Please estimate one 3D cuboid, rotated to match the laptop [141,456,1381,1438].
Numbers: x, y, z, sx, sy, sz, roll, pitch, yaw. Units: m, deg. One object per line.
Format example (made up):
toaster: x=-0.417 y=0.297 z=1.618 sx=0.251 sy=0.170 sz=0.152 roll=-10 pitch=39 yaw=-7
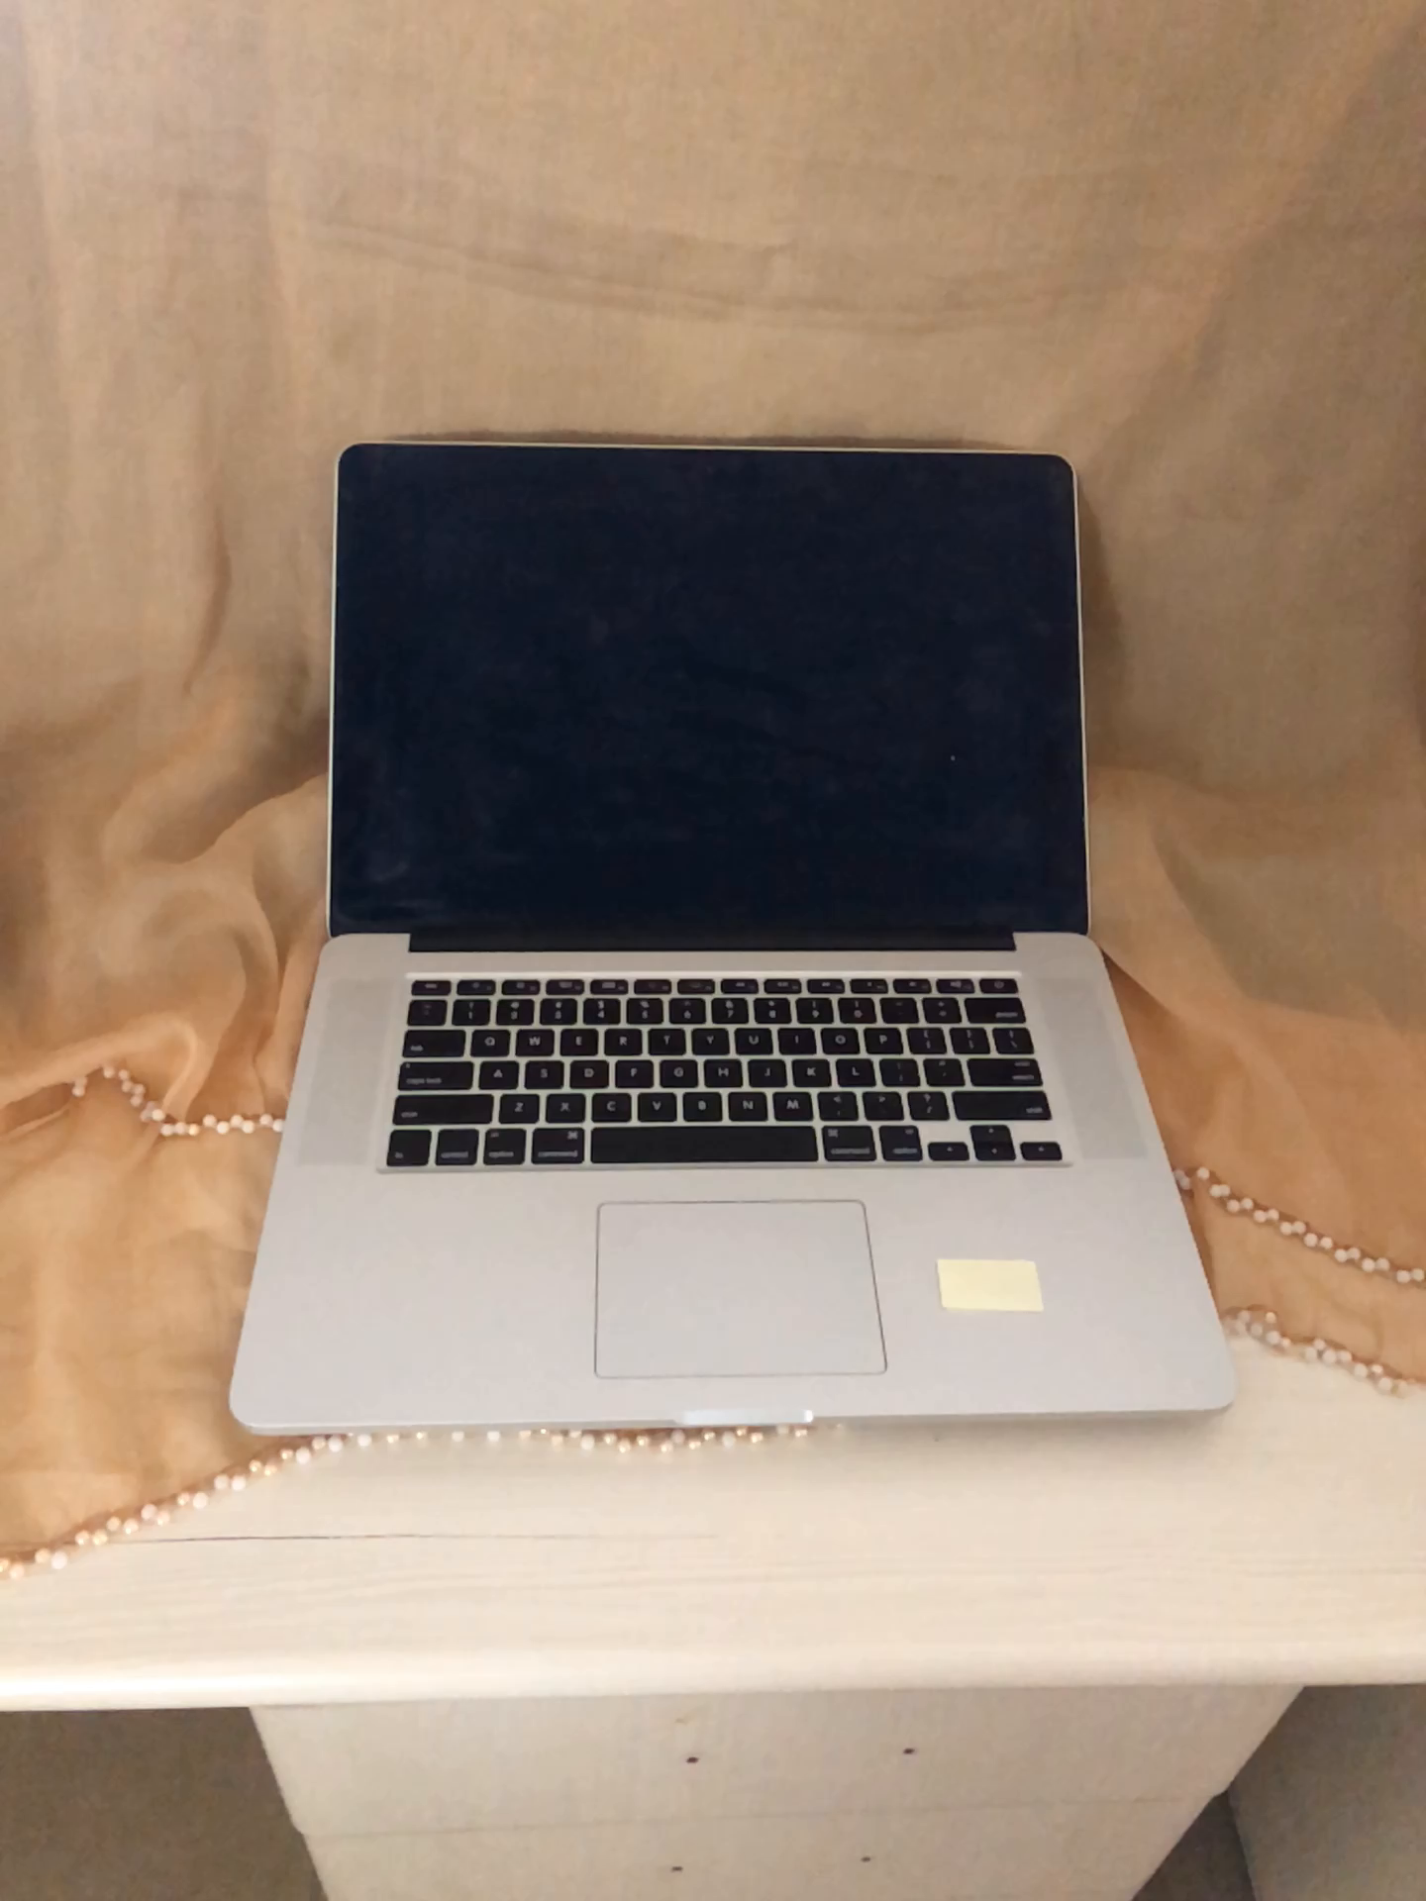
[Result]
laptop: x=0.006 y=-0.033 z=0.617 sx=0.336 sy=0.135 sz=0.407 roll=0 pitch=45 yaw=-3
